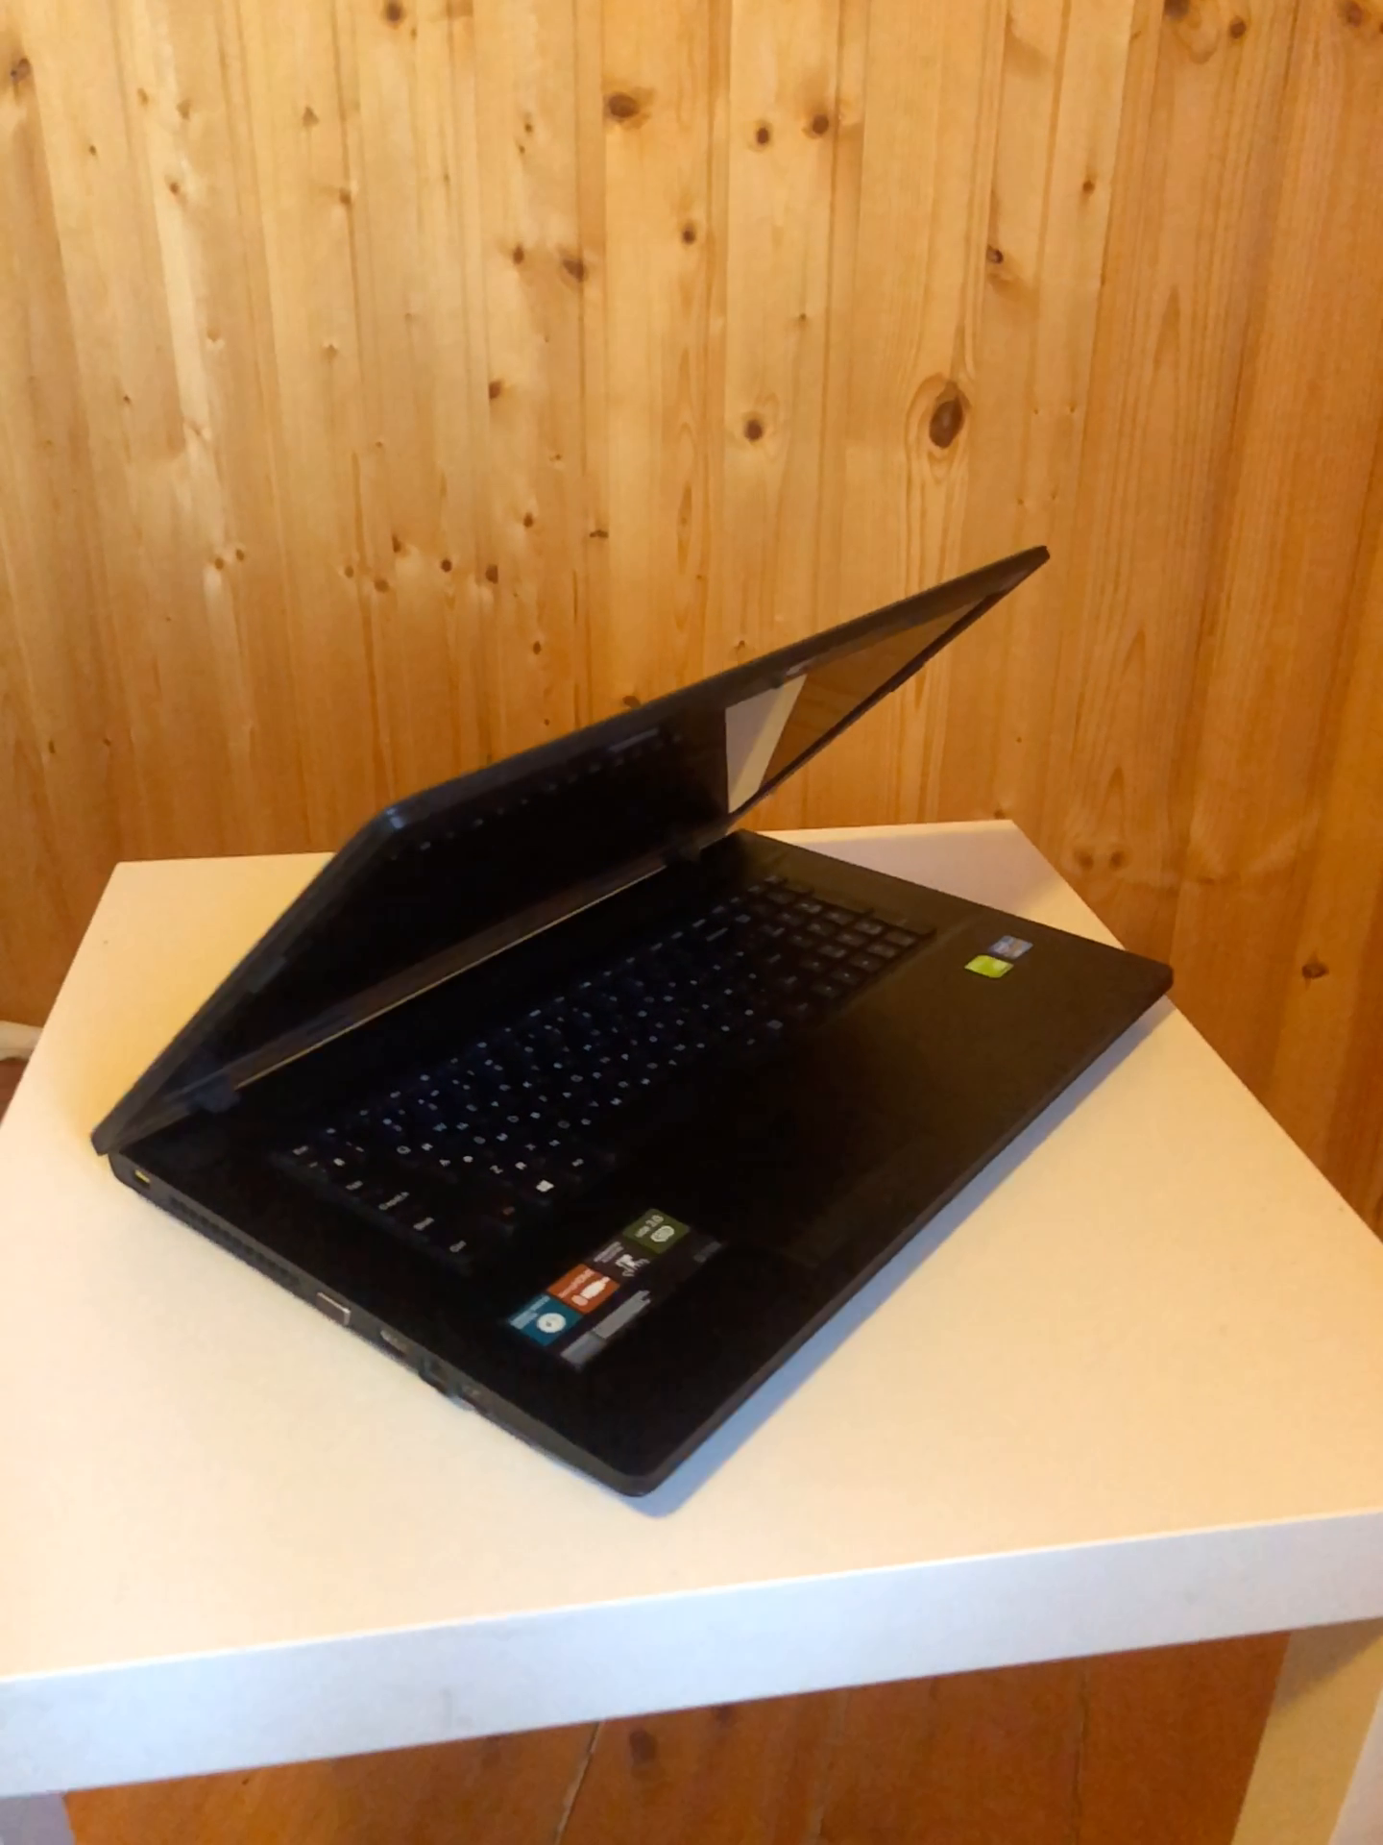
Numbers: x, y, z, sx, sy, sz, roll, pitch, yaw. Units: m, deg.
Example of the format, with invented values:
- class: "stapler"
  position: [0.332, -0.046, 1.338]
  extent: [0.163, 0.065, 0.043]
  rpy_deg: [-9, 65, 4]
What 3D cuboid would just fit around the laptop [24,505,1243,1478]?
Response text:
- class: "laptop"
  position: [0.006, -0.029, 0.627]
  extent: [0.272, 0.184, 0.411]
  rpy_deg: [20, 32, 33]
